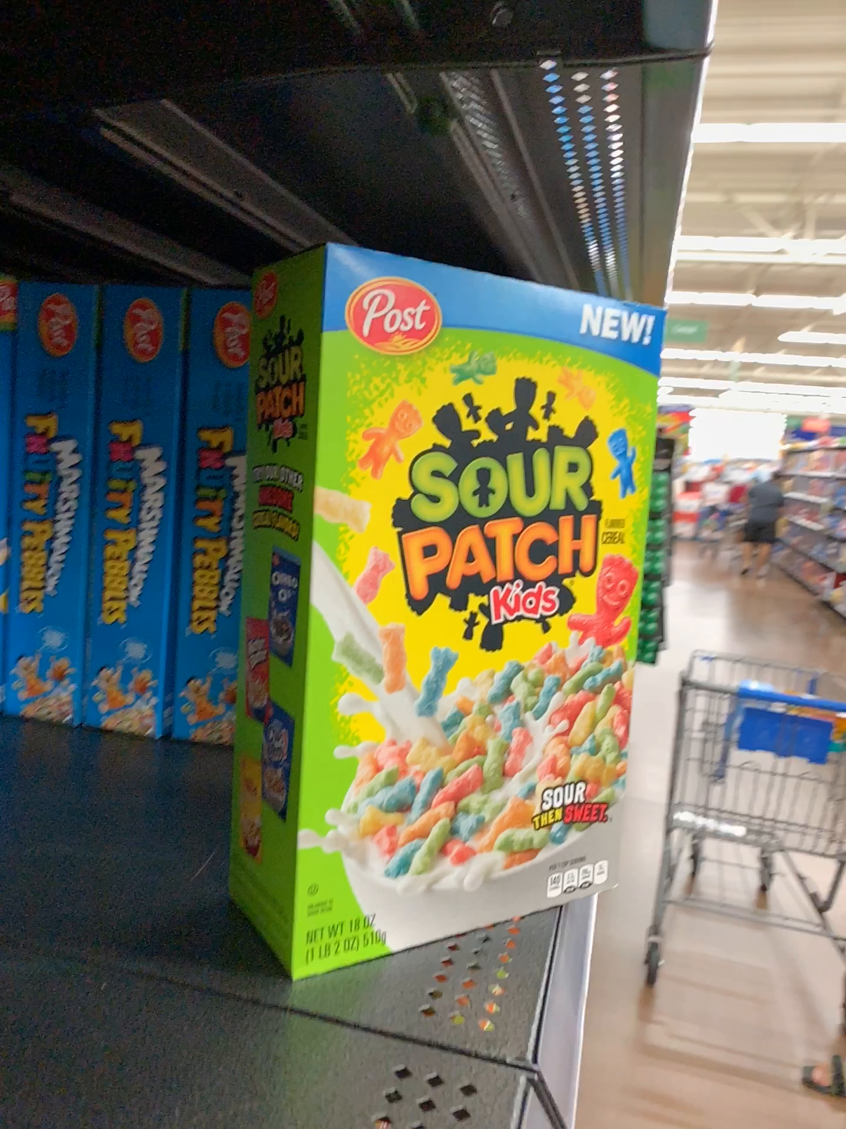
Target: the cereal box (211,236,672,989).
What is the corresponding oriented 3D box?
[{"bbox_3d":[0.010,0.020,0.439,0.200,0.309,0.080,0,8,-33],"label":"cereal box"}]
